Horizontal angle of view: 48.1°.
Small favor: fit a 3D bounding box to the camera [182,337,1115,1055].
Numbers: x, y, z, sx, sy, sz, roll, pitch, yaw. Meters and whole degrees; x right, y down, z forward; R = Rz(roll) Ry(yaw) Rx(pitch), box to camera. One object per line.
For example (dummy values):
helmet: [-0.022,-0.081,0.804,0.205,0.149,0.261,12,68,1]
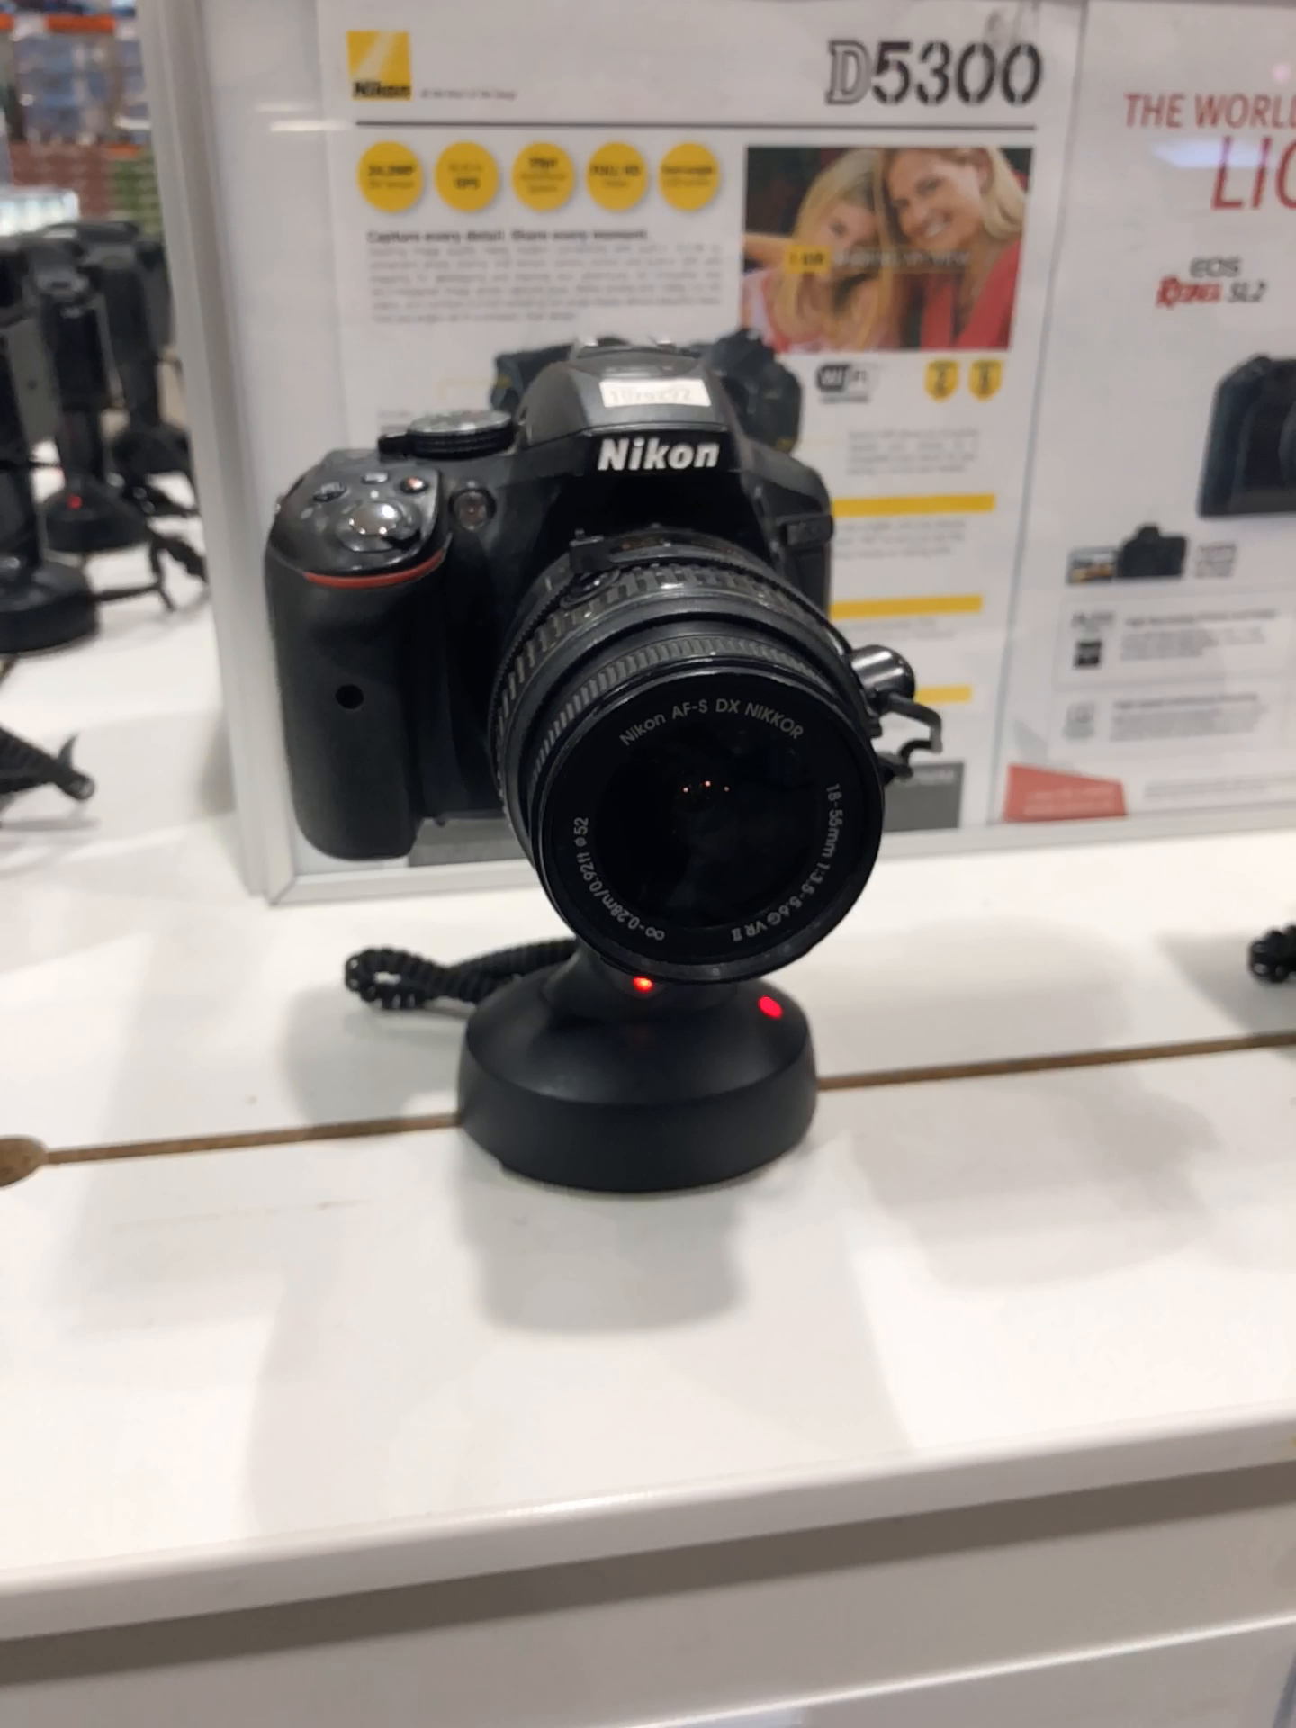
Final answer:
camera: [-0.010,-0.046,0.280,0.130,0.090,0.141,-5,26,-10]
